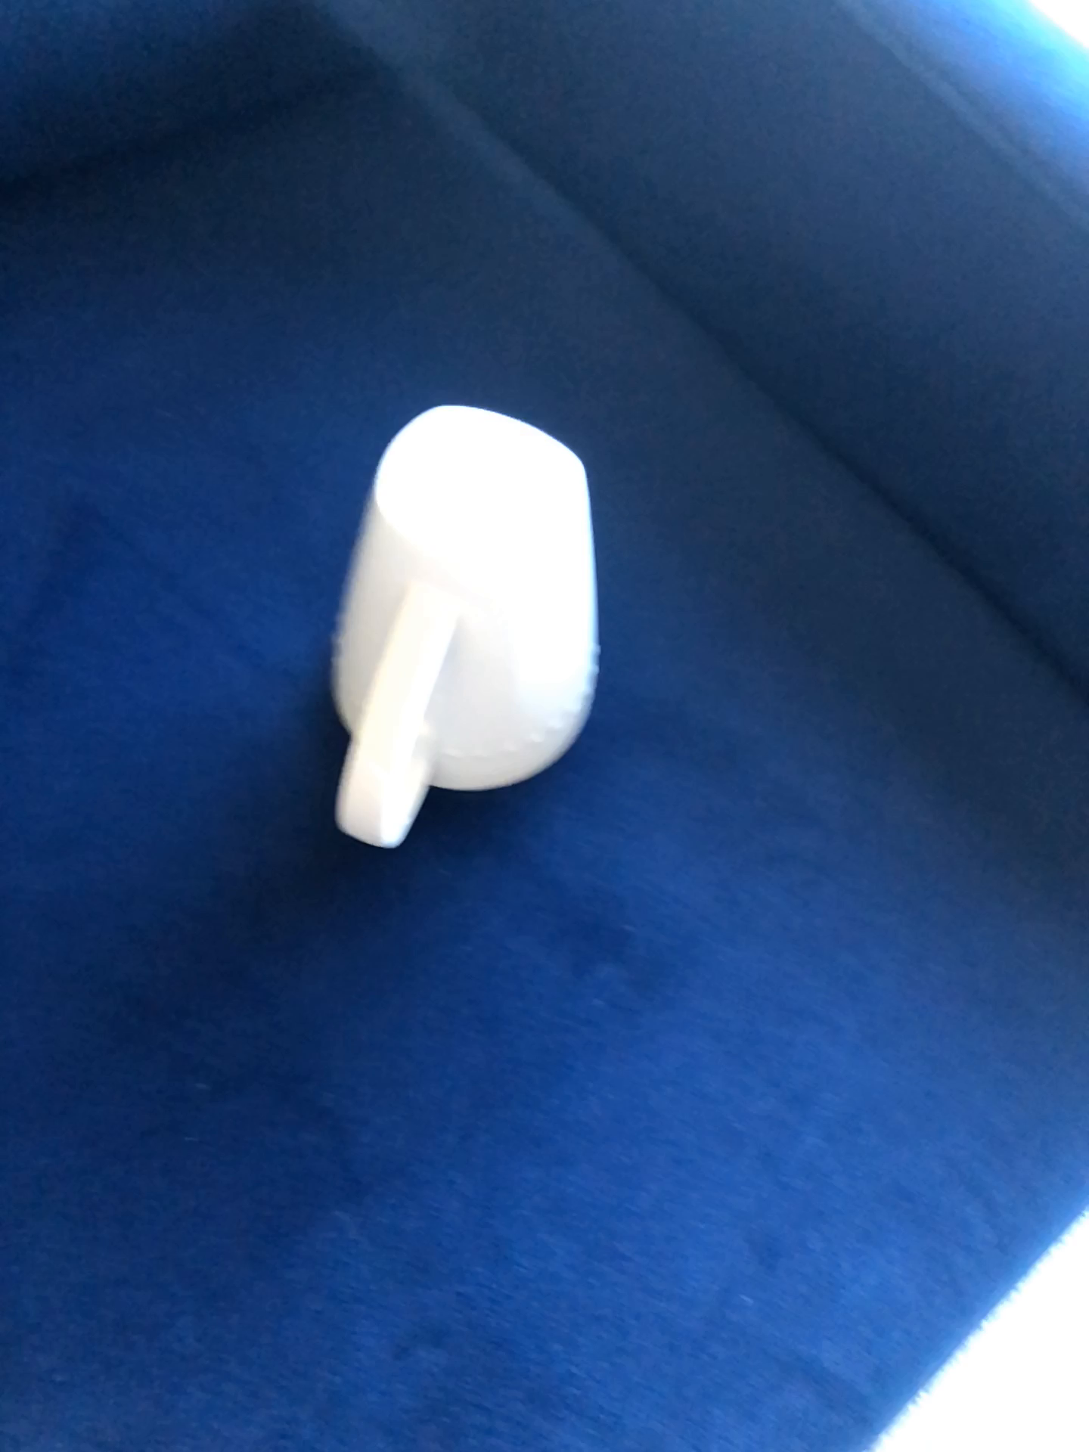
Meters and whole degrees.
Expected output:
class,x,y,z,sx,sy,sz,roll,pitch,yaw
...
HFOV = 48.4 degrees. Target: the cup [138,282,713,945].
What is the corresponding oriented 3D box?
class,x,y,z,sx,sy,sz,roll,pitch,yaw
cup,-0.032,-0.034,0.371,0.110,0.090,0.150,21,61,0
